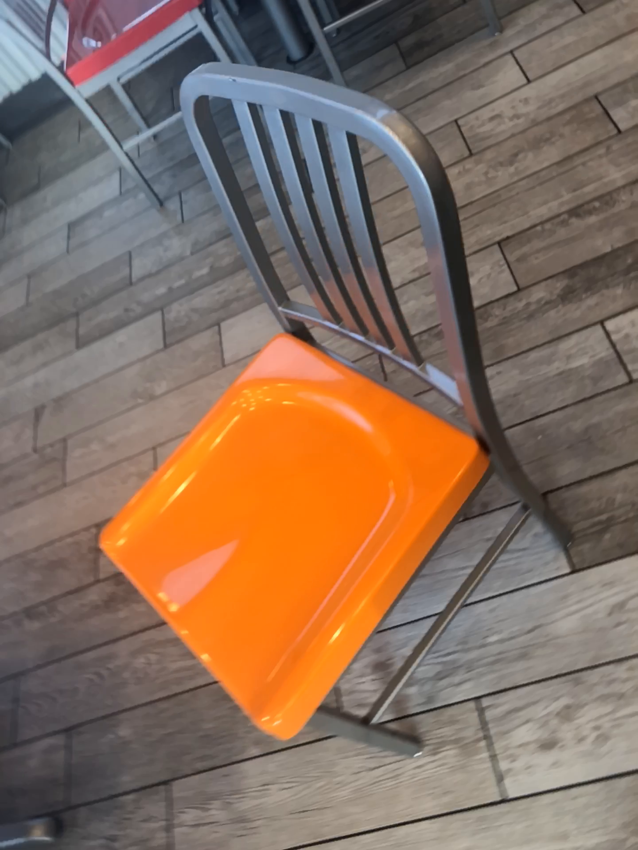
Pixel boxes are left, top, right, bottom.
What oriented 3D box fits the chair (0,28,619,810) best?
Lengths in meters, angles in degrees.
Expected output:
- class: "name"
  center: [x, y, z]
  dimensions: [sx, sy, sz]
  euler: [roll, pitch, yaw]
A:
- class: "chair"
  center: [-0.027, 0.073, 0.878]
  dimensions: [0.471, 0.818, 0.510]
  euler: [32, 81, 38]
